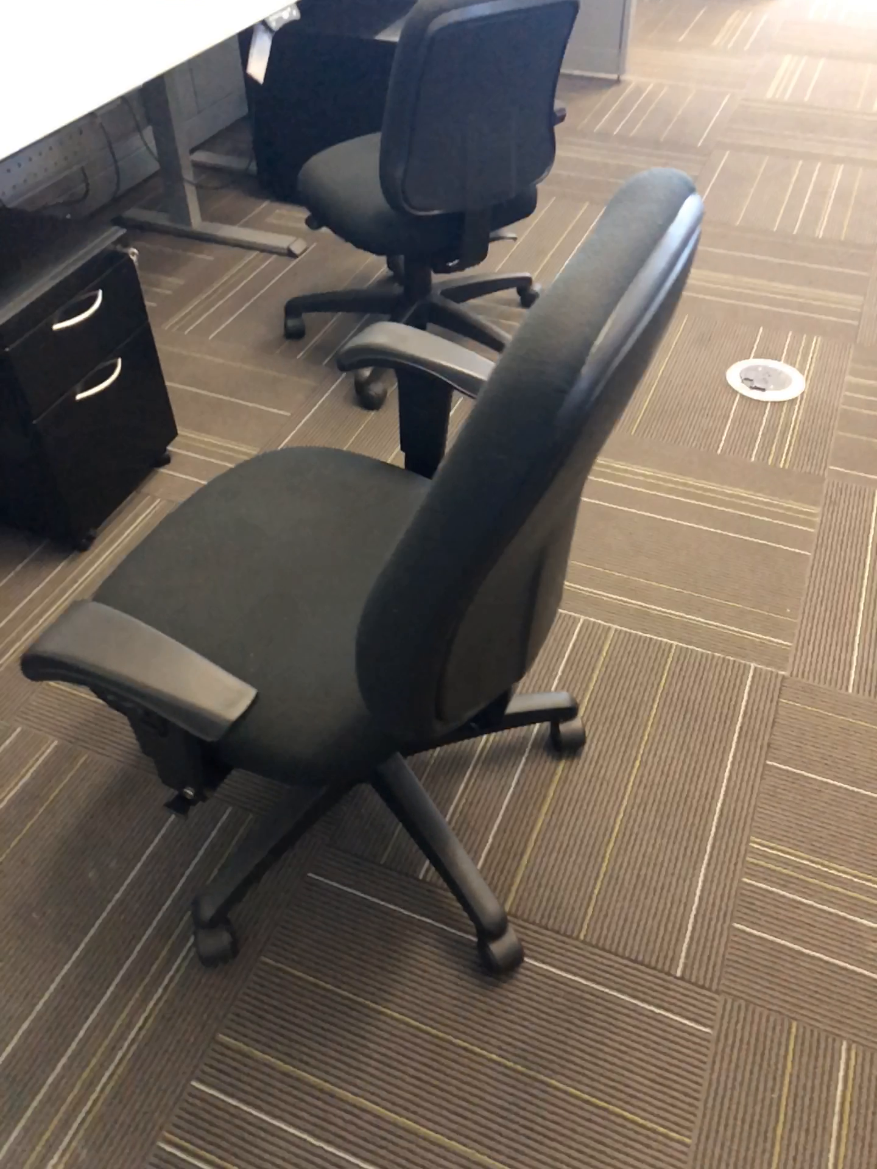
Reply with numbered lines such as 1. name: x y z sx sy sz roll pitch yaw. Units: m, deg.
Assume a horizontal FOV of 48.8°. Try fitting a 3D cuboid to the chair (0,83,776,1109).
1. chair: -0.070 0.008 1.263 0.681 0.955 0.743 15 46 16
